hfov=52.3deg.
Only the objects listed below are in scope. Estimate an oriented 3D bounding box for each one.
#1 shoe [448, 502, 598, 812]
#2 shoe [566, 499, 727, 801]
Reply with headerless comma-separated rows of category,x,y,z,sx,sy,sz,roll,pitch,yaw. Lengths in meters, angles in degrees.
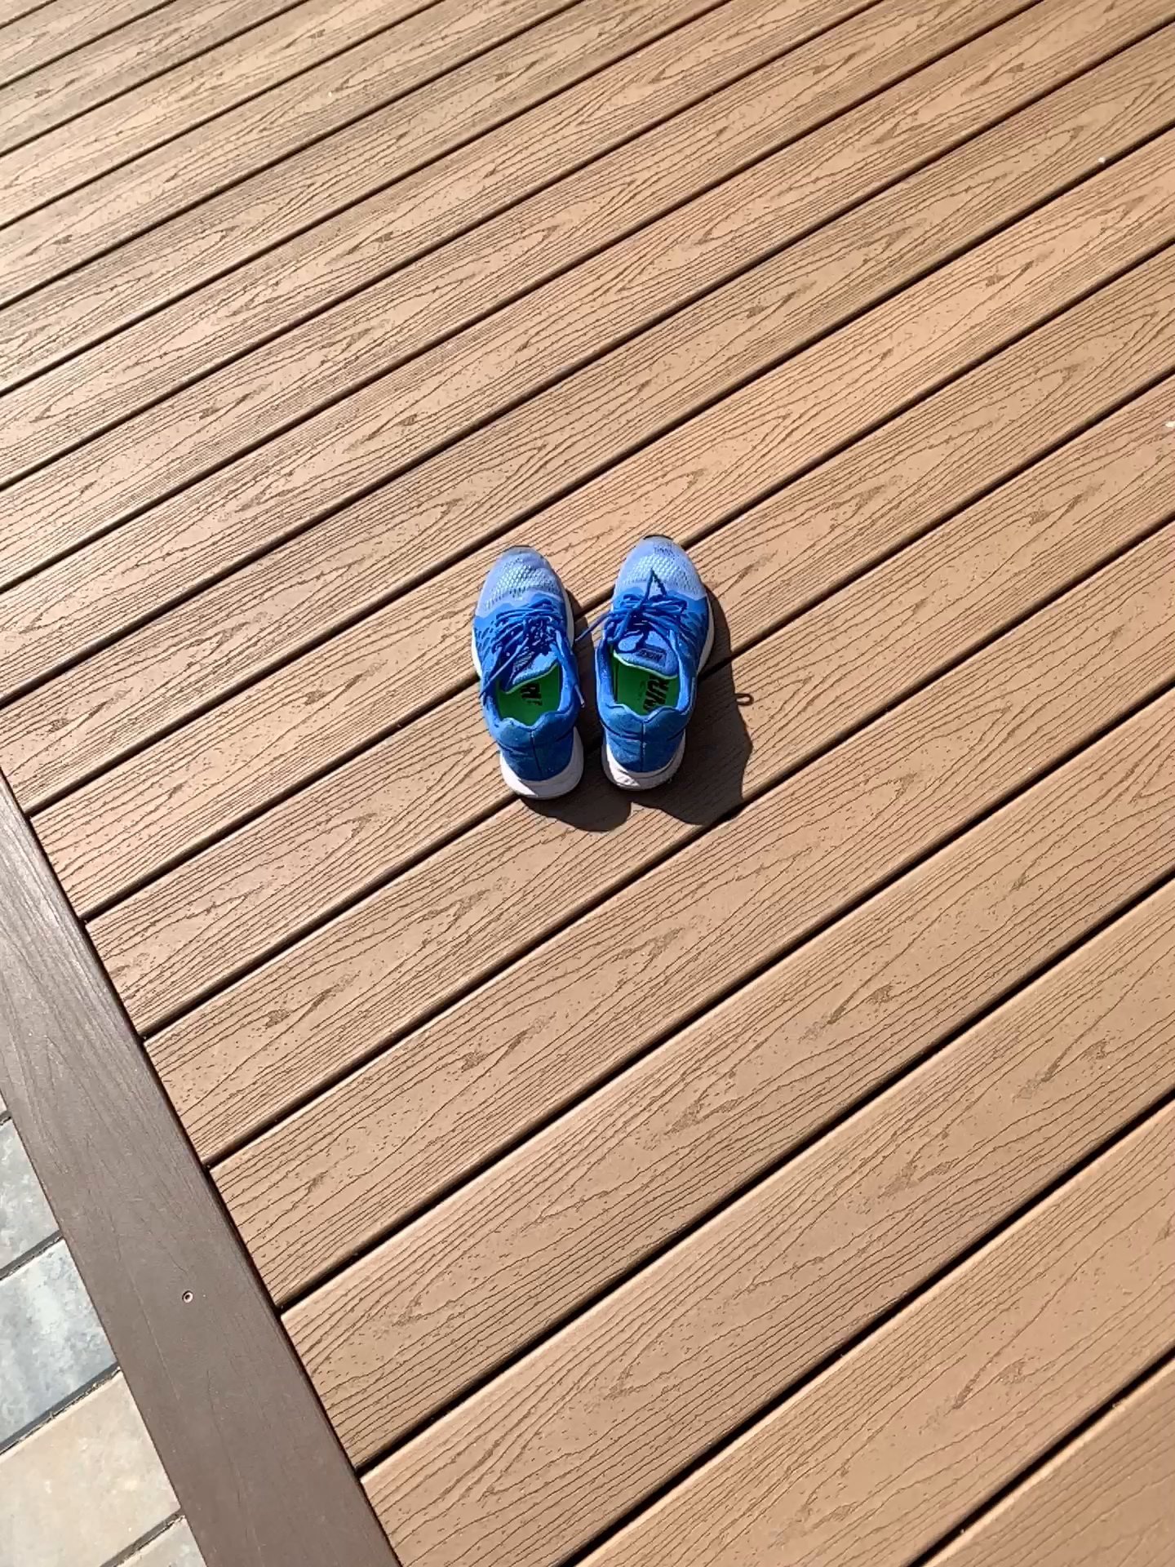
shoe,-0.069,-0.134,1.248,0.120,0.103,0.298,-8,64,4
shoe,0.067,-0.141,1.240,0.120,0.106,0.290,6,66,10
